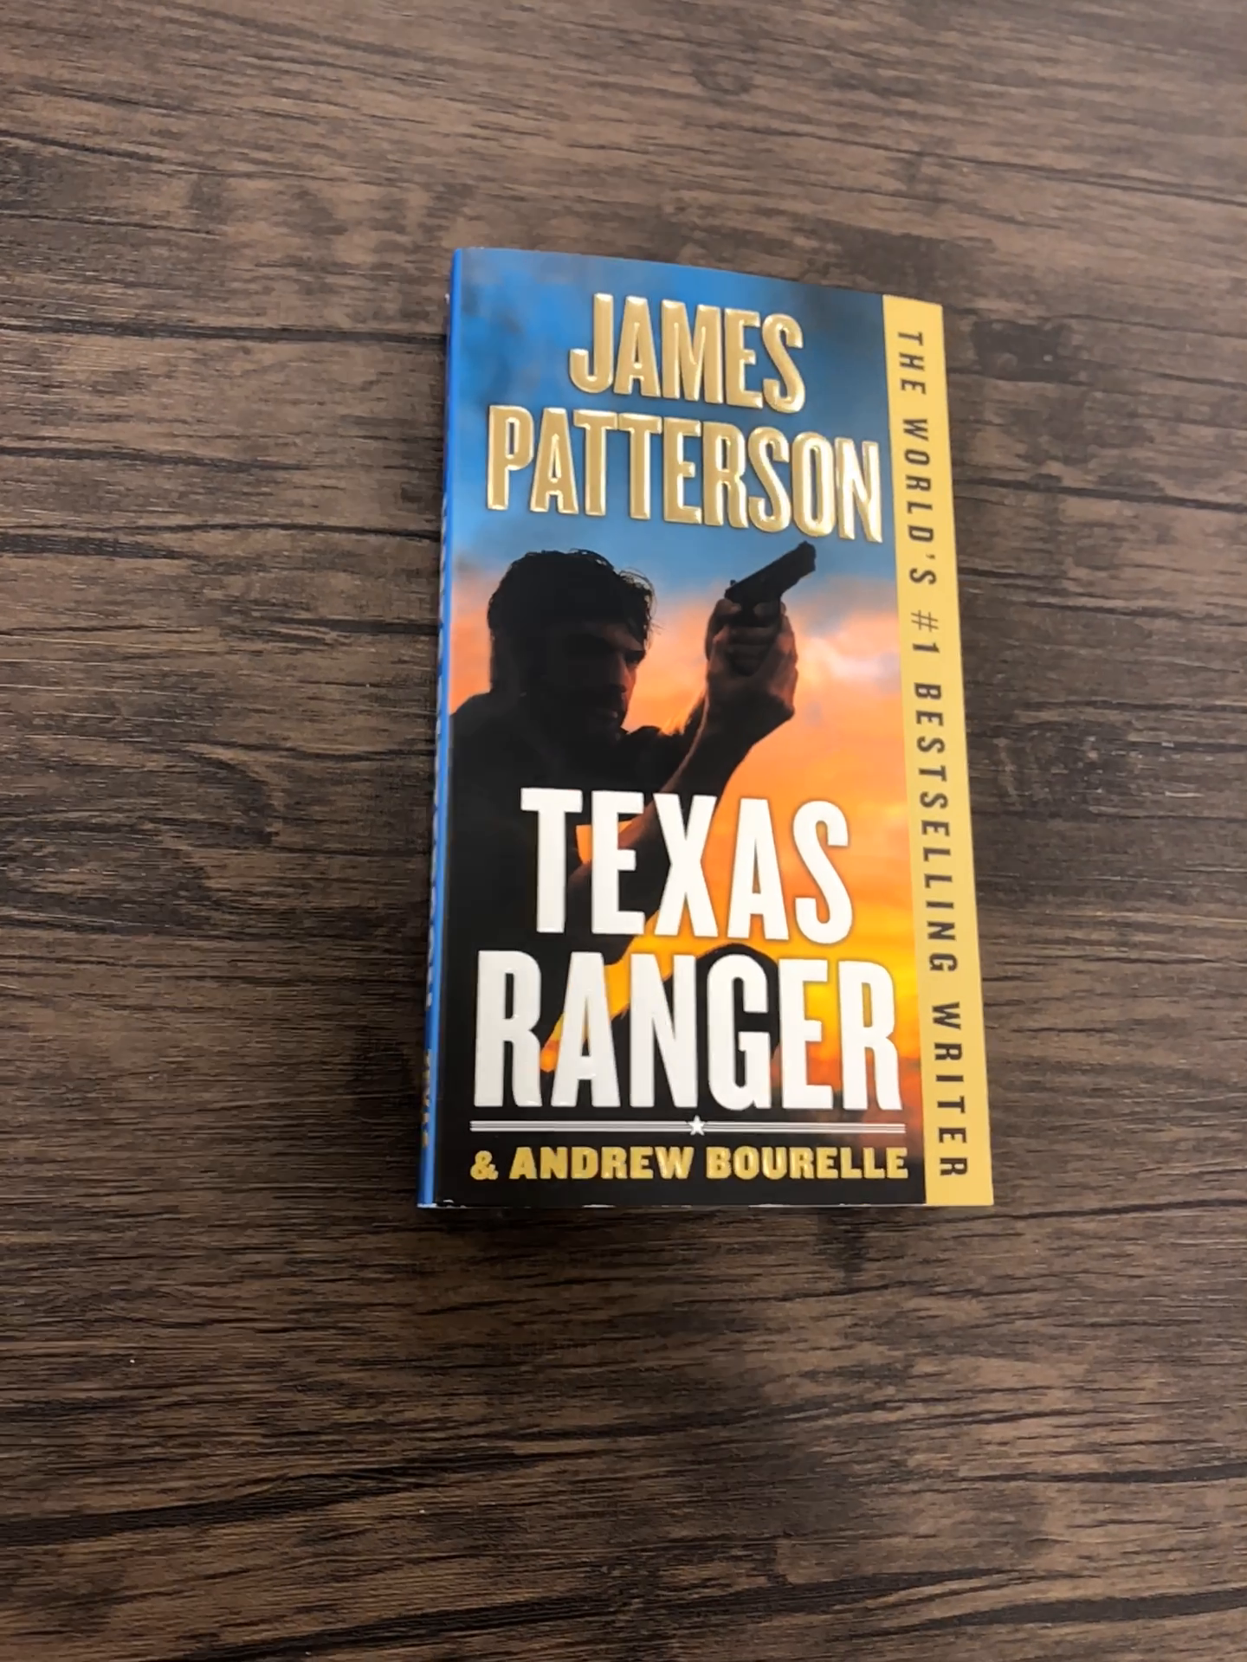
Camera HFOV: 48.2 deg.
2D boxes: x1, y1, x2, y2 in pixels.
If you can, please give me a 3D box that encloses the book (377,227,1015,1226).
[{"bbox_3d":[0.011,-0.018,0.270,0.107,0.040,0.180,3,75,-13],"label":"book"}]
